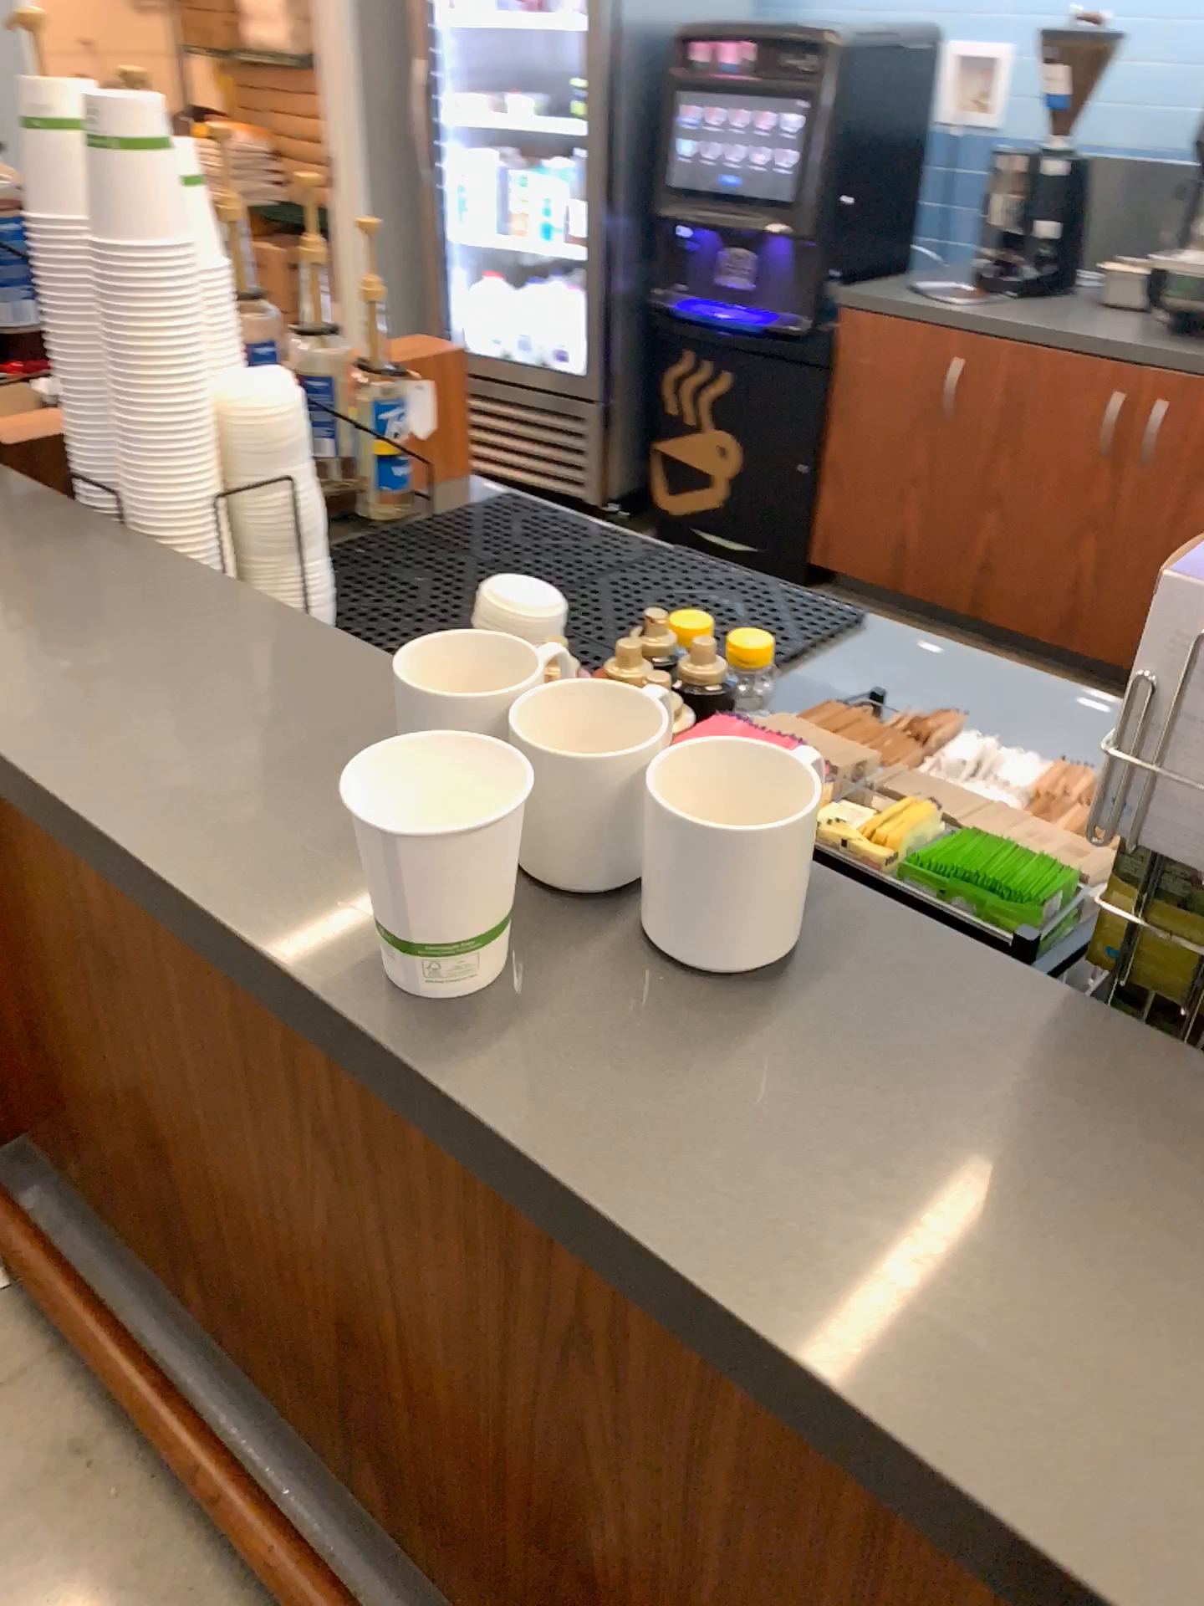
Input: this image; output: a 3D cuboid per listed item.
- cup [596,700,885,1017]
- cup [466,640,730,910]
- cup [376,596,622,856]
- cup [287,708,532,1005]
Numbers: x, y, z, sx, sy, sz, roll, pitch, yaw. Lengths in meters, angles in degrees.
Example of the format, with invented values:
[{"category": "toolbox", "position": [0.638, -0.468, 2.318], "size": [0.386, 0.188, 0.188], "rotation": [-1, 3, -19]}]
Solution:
[{"category": "cup", "position": [0.069, 0.025, 0.636], "size": [0.110, 0.099, 0.090], "rotation": [-26, 42, -36]}, {"category": "cup", "position": [-0.003, -0.019, 0.686], "size": [0.110, 0.089, 0.090], "rotation": [-25, 41, -35]}, {"category": "cup", "position": [-0.061, -0.050, 0.741], "size": [0.110, 0.099, 0.090], "rotation": [-25, 41, -35]}, {"category": "cup", "position": [-0.086, 0.024, 0.591], "size": [0.090, 0.099, 0.091], "rotation": [1, 33, -1]}]
